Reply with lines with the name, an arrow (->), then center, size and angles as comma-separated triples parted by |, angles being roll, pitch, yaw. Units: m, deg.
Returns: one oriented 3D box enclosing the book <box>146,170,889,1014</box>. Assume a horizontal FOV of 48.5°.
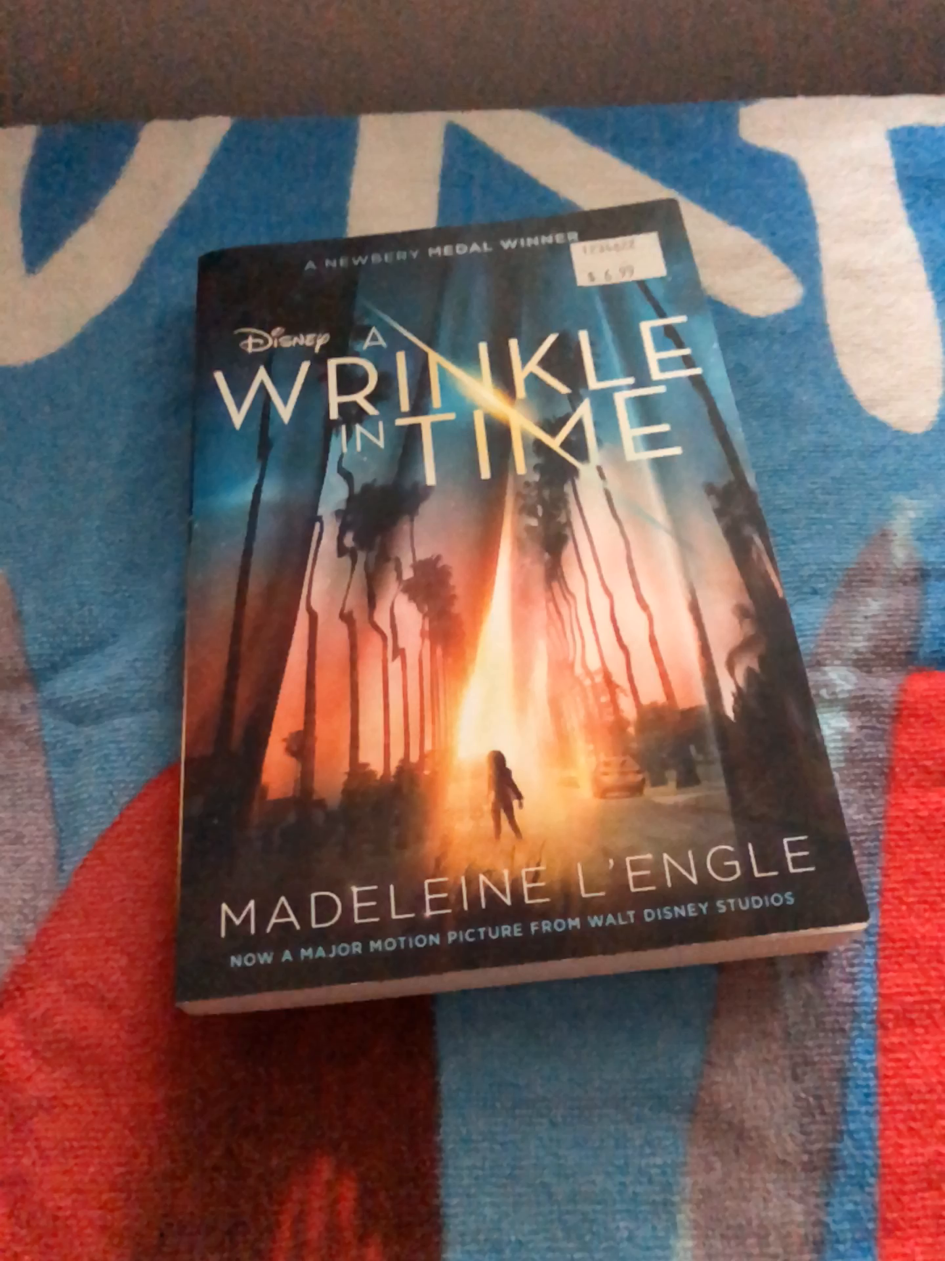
book -> 0.001, -0.020, 0.249 | 0.138, 0.031, 0.196 | -6, 65, 1
